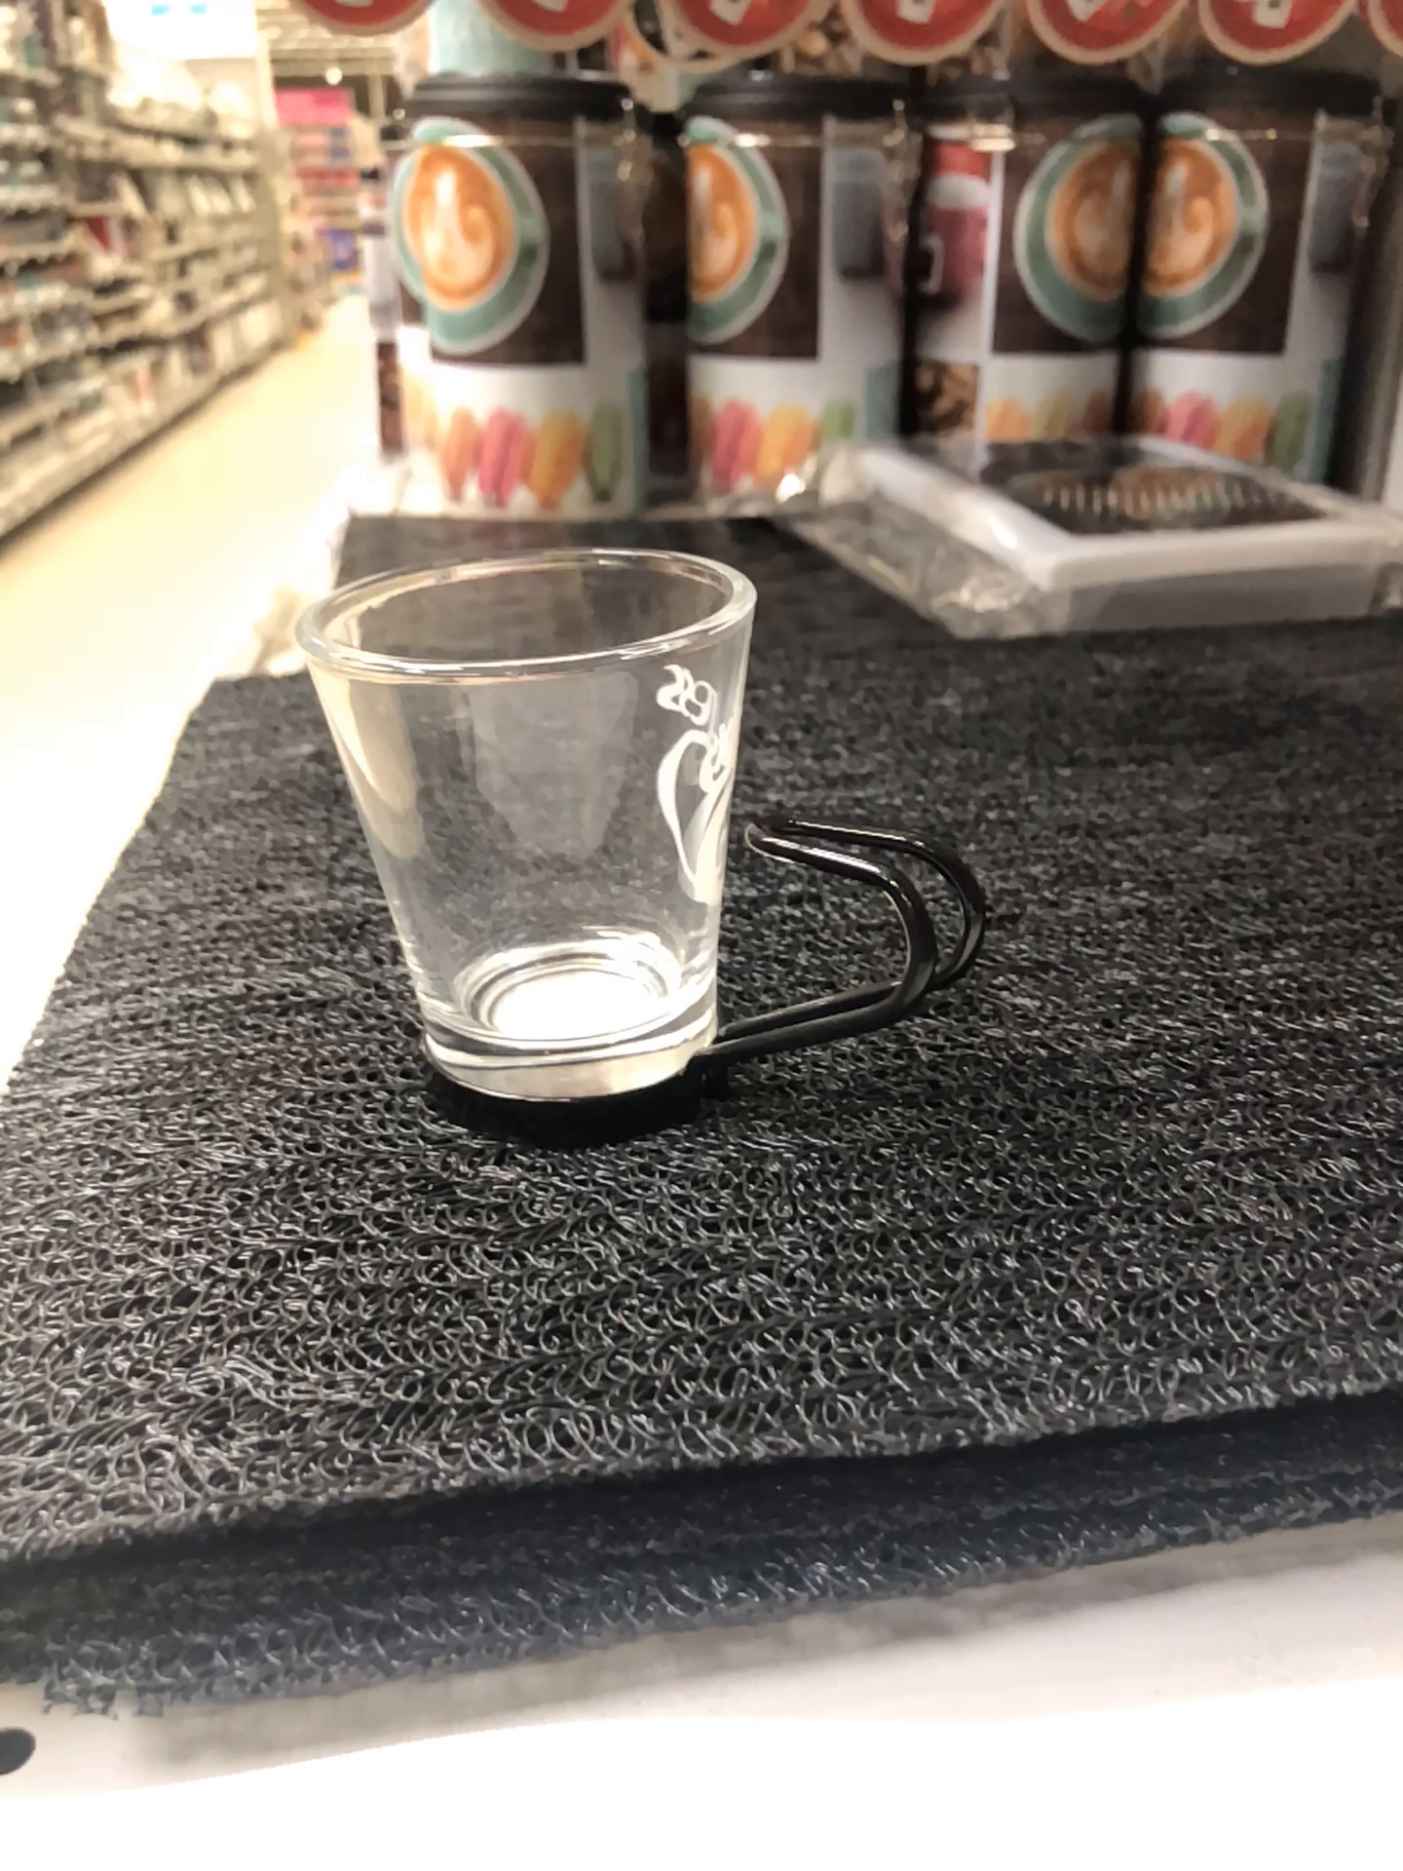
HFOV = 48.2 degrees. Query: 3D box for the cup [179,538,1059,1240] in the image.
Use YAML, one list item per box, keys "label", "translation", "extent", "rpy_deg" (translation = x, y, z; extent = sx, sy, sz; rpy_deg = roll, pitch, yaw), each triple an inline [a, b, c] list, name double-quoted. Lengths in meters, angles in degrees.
- label: "cup"
  translation: [-0.009, -0.015, 0.213]
  extent: [0.087, 0.059, 0.073]
  rpy_deg: [15, 28, 31]
